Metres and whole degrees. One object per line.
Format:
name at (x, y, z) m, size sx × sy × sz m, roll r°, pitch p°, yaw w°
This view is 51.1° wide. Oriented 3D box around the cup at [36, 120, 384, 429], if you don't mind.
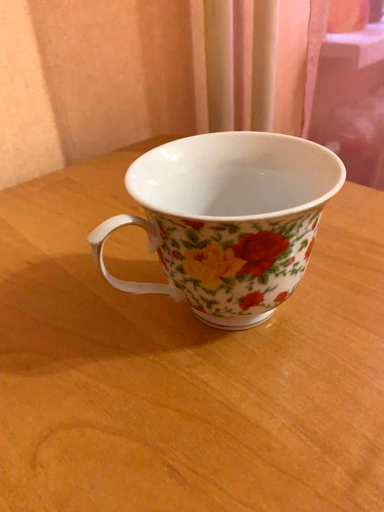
cup at (0.010, -0.008, 0.190) m, size 0.120 × 0.067 × 0.100 m, roll -24°, pitch 39°, yaw -27°
